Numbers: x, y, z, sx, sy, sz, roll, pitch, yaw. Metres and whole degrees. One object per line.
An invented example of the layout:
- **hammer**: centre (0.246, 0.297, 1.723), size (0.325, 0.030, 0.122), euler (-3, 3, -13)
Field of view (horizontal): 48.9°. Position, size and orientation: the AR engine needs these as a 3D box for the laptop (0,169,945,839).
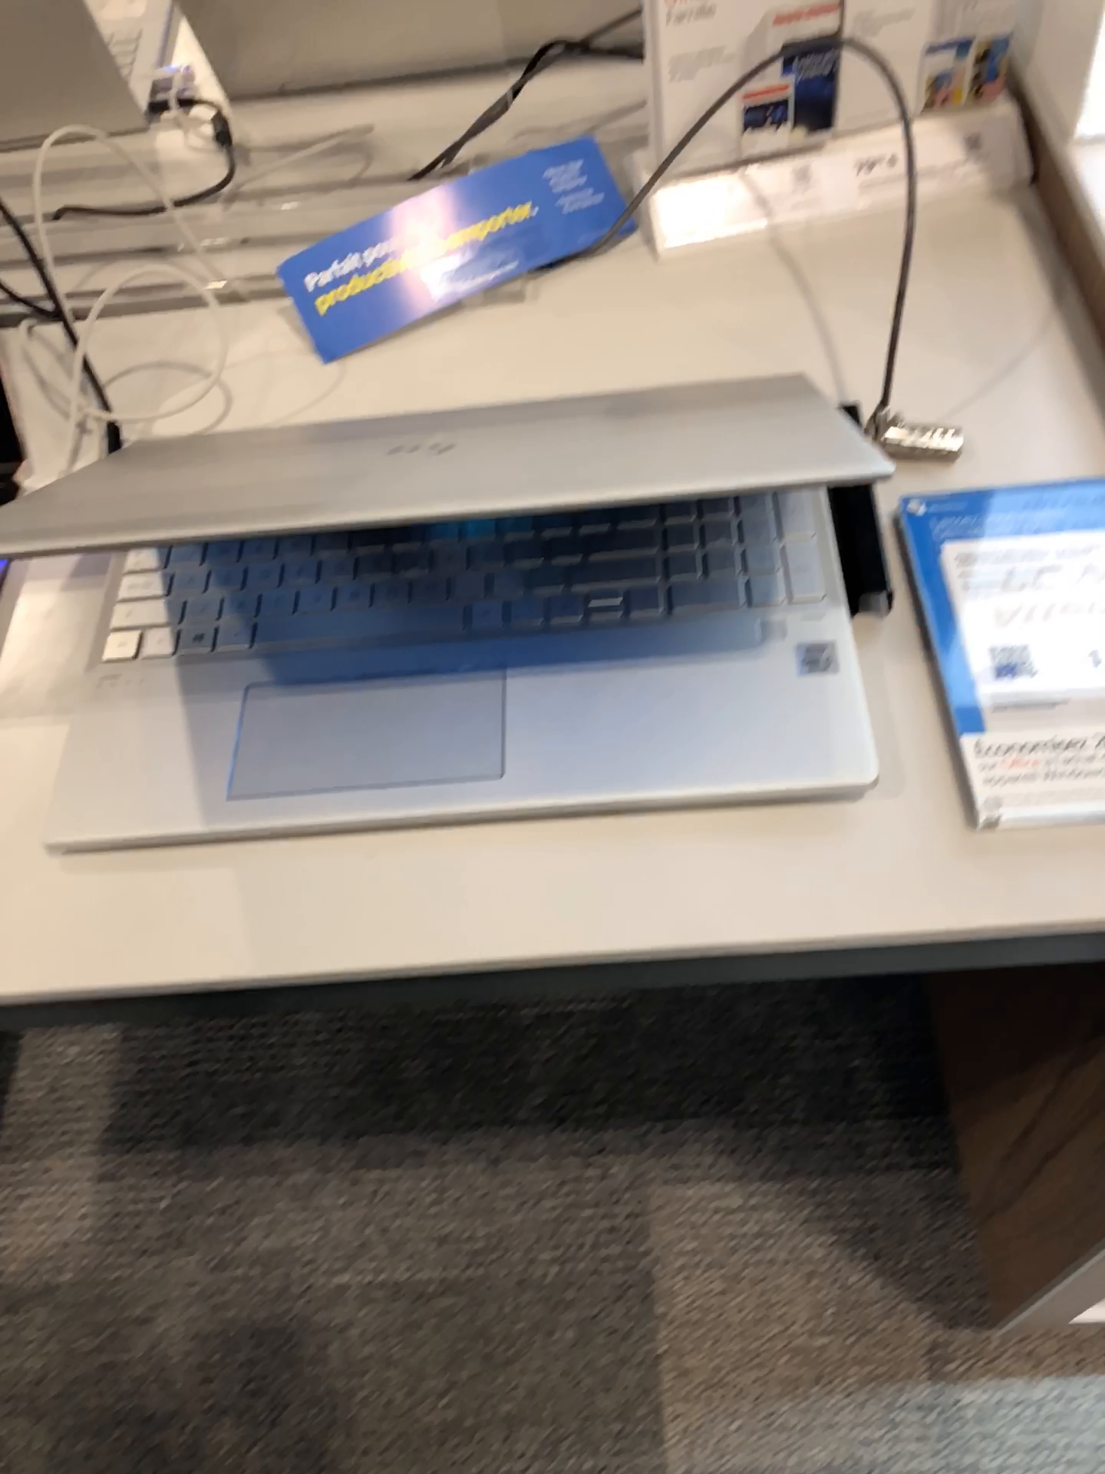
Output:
- **laptop**: centre (-0.045, -0.096, 0.510), size (0.346, 0.116, 0.230), euler (-4, 57, 6)
